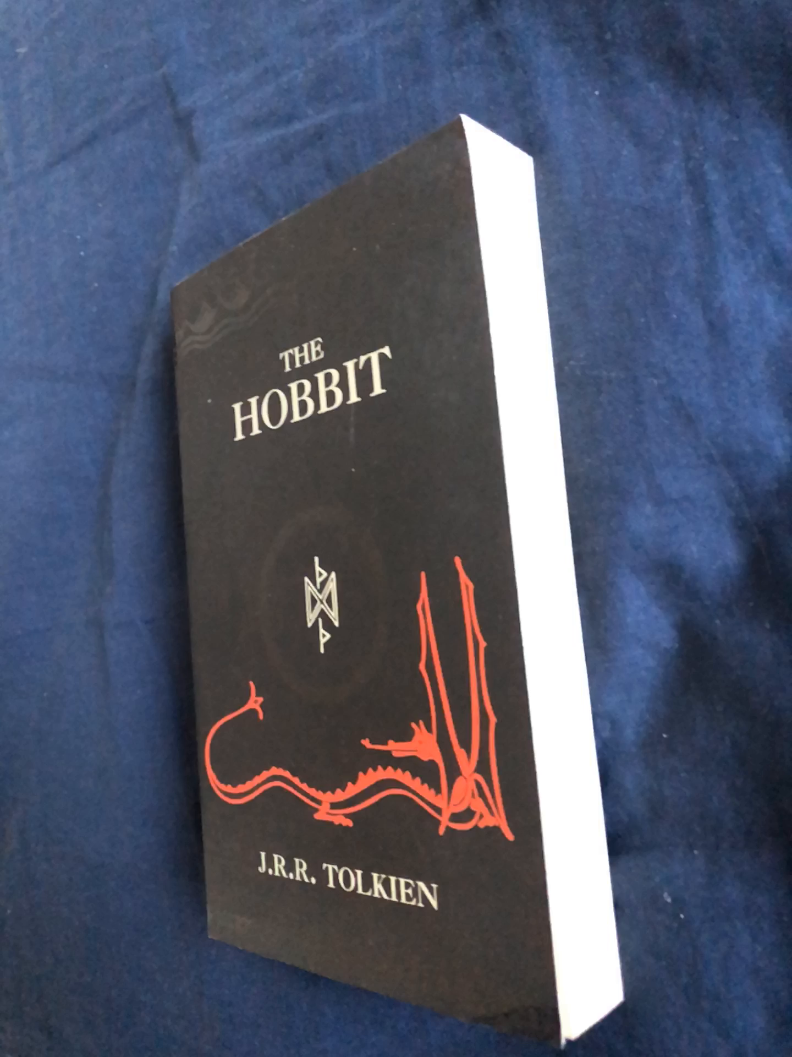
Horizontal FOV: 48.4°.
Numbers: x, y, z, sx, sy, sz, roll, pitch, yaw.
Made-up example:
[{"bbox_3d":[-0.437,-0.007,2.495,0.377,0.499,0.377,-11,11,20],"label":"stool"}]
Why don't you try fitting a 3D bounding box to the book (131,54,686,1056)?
[{"bbox_3d":[-0.008,0.011,0.206,0.121,0.040,0.180,-10,81,42],"label":"book"}]
